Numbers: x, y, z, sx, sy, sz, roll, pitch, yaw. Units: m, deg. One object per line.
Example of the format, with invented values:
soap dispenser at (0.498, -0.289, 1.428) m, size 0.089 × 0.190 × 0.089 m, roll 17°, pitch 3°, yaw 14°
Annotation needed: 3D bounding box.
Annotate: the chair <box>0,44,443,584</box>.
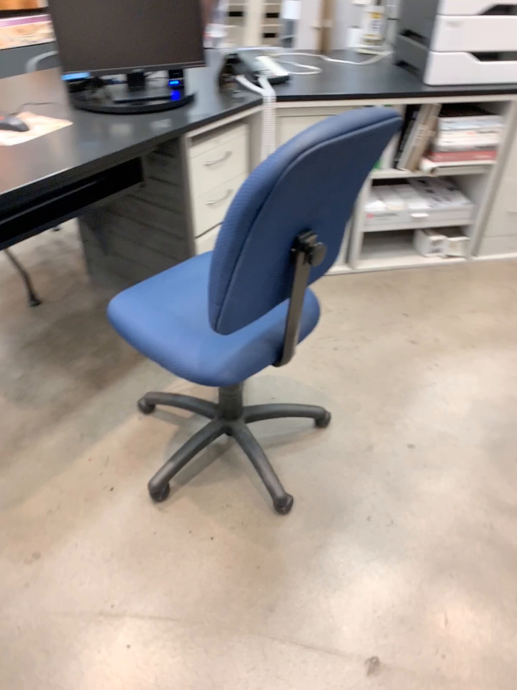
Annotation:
chair at (-0.117, -0.110, 1.352) m, size 0.694 × 1.035 × 0.660 m, roll 30°, pitch 47°, yaw 32°
